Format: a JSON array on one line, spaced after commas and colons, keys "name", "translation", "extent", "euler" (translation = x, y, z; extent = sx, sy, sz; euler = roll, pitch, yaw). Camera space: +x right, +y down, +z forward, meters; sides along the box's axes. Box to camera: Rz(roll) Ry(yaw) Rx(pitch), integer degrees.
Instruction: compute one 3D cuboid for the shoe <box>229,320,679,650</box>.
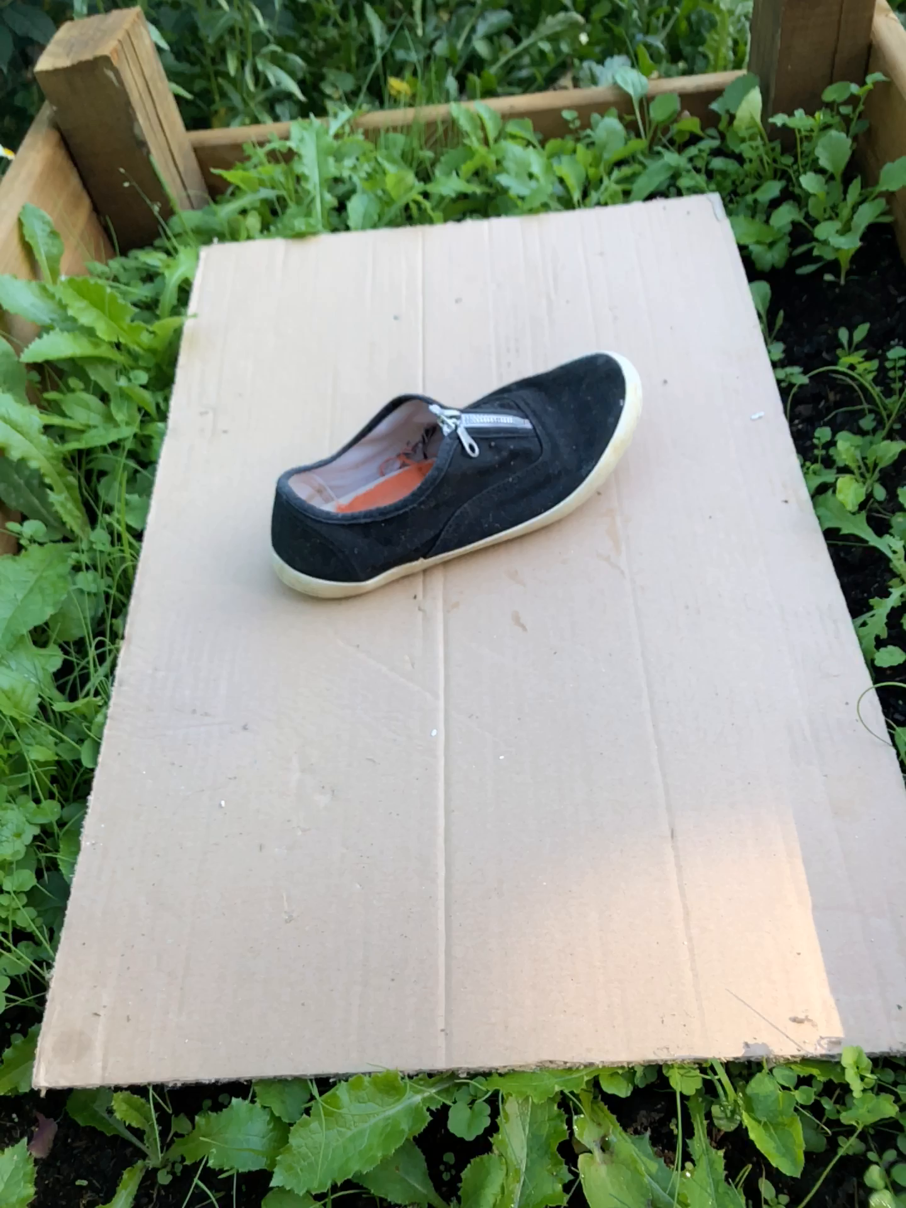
[{"name": "shoe", "translation": [0.003, -0.076, 0.603], "extent": [0.240, 0.070, 0.100], "euler": [-24, 53, -13]}]
